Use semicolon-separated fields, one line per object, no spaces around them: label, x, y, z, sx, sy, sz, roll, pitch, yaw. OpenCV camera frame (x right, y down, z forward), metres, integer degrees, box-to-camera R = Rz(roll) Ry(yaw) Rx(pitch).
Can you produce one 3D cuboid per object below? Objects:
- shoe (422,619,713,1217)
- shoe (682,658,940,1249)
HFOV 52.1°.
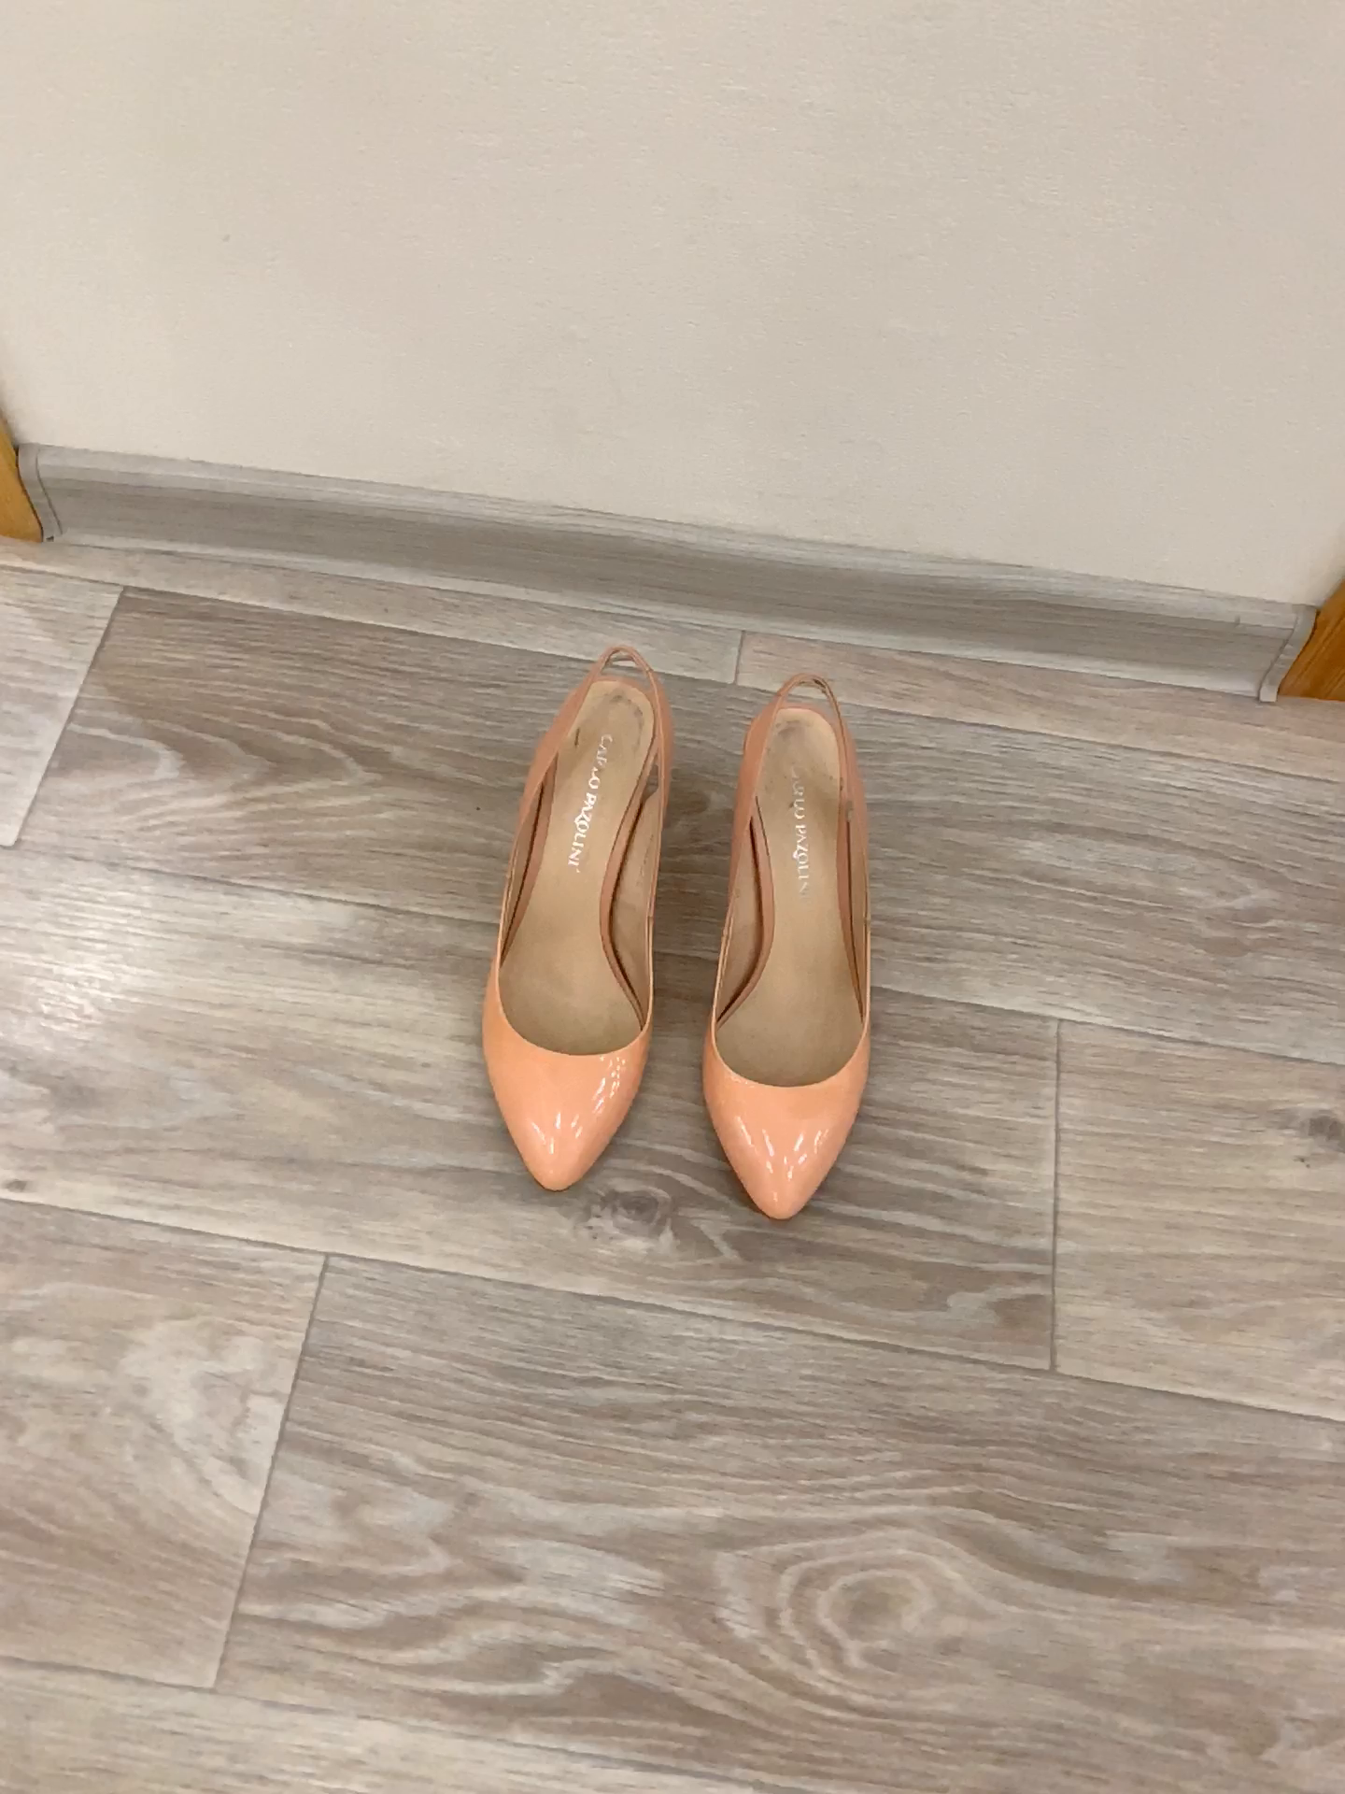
shoe;-0.043;0.009;0.638;0.090;0.120;0.241;7;63;-1
shoe;0.054;0.026;0.631;0.090;0.120;0.241;2;63;-3
